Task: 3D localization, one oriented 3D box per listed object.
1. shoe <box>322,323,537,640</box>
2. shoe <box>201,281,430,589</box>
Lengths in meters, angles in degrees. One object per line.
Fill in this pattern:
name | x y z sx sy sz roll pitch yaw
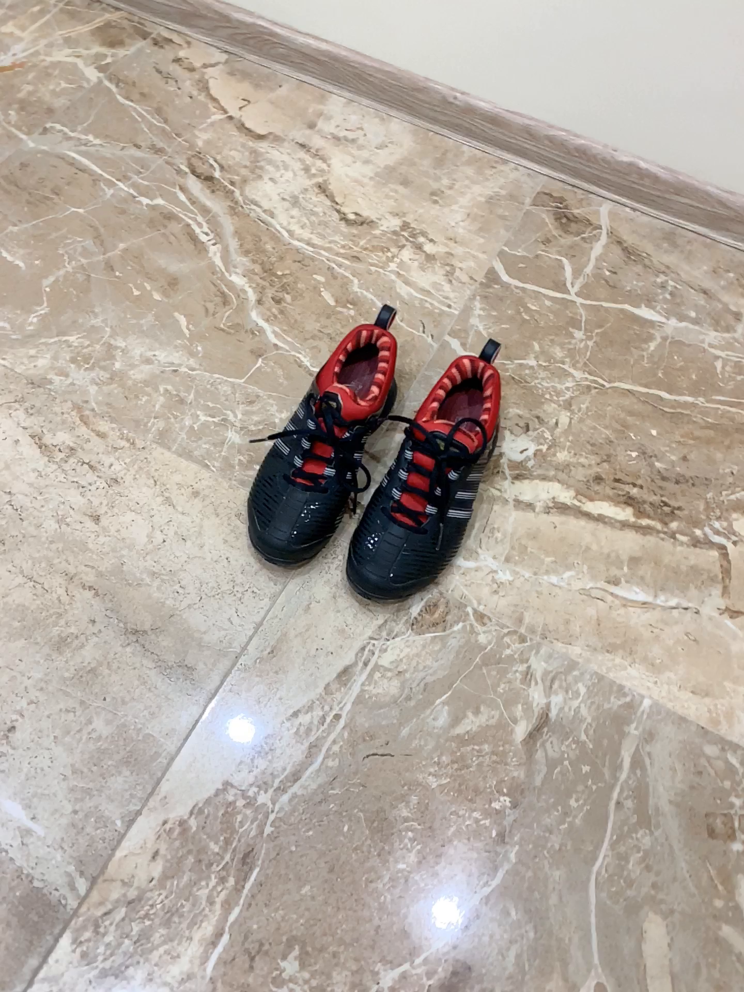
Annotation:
shoe | 0.056 -0.020 0.701 0.095 0.090 0.271 22 62 9
shoe | -0.044 -0.063 0.712 0.095 0.090 0.271 22 62 9
